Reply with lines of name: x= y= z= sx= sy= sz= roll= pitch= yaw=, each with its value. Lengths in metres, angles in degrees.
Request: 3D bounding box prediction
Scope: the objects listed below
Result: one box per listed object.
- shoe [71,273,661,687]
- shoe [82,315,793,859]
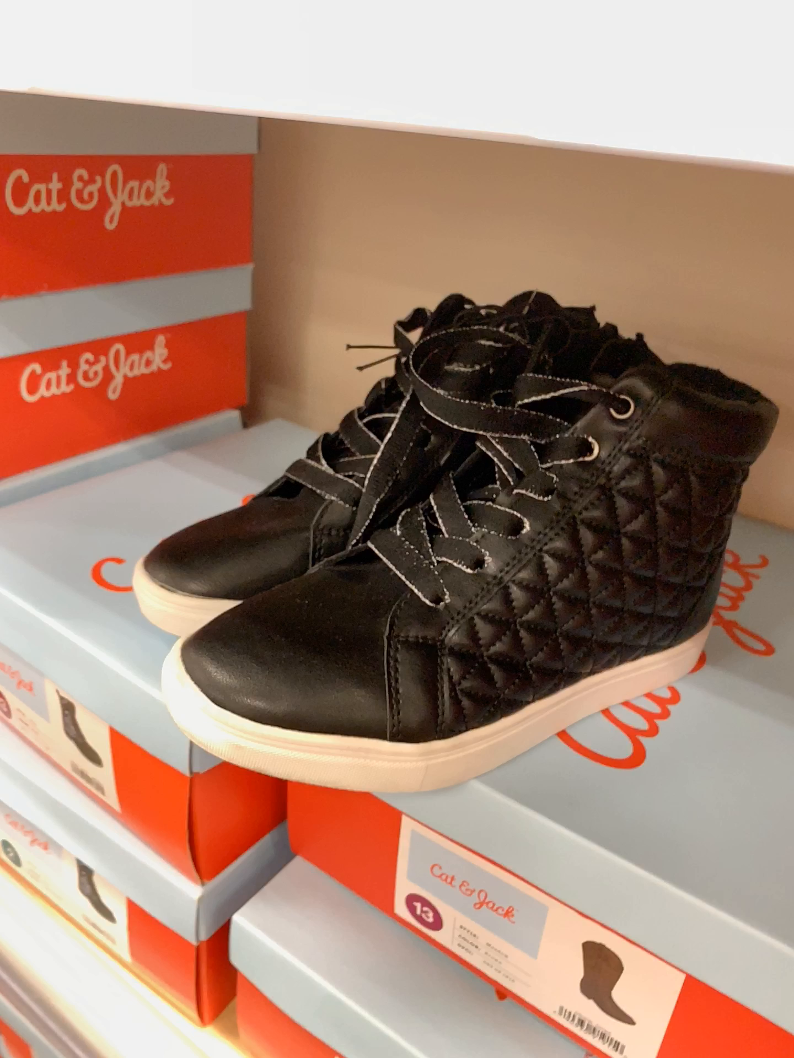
shoe: x=-0.010 y=-0.038 z=0.379 sx=0.230 sy=0.119 sz=0.100 roll=-14 pitch=33 yaw=-28
shoe: x=0.023 y=0.000 z=0.301 sx=0.230 sy=0.109 sz=0.100 roll=-14 pitch=33 yaw=-28
